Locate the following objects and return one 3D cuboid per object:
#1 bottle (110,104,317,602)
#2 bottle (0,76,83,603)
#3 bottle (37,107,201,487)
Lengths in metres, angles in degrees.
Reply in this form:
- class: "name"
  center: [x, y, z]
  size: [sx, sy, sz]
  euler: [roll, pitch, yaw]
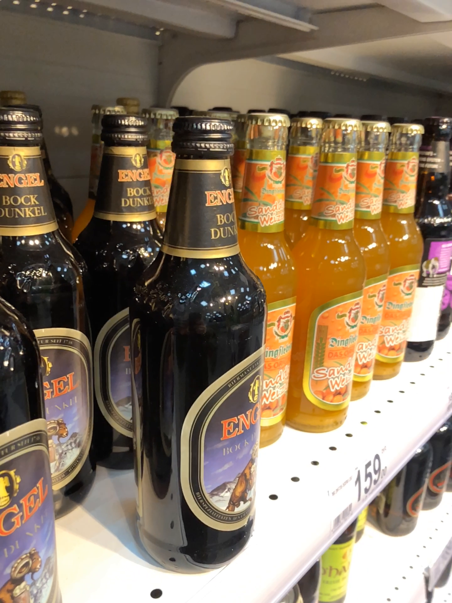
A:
- class: "bottle"
  center: [-0.009, 0.025, 0.257]
  size: [0.061, 0.229, 0.070]
  euler: [16, 22, 33]
- class: "bottle"
  center: [-0.105, 0.048, 0.186]
  size: [0.061, 0.233, 0.070]
  euler: [16, 22, 33]
- class: "bottle"
  center: [-0.070, -0.004, 0.342]
  size: [0.070, 0.233, 0.069]
  euler: [3, 18, -1]
